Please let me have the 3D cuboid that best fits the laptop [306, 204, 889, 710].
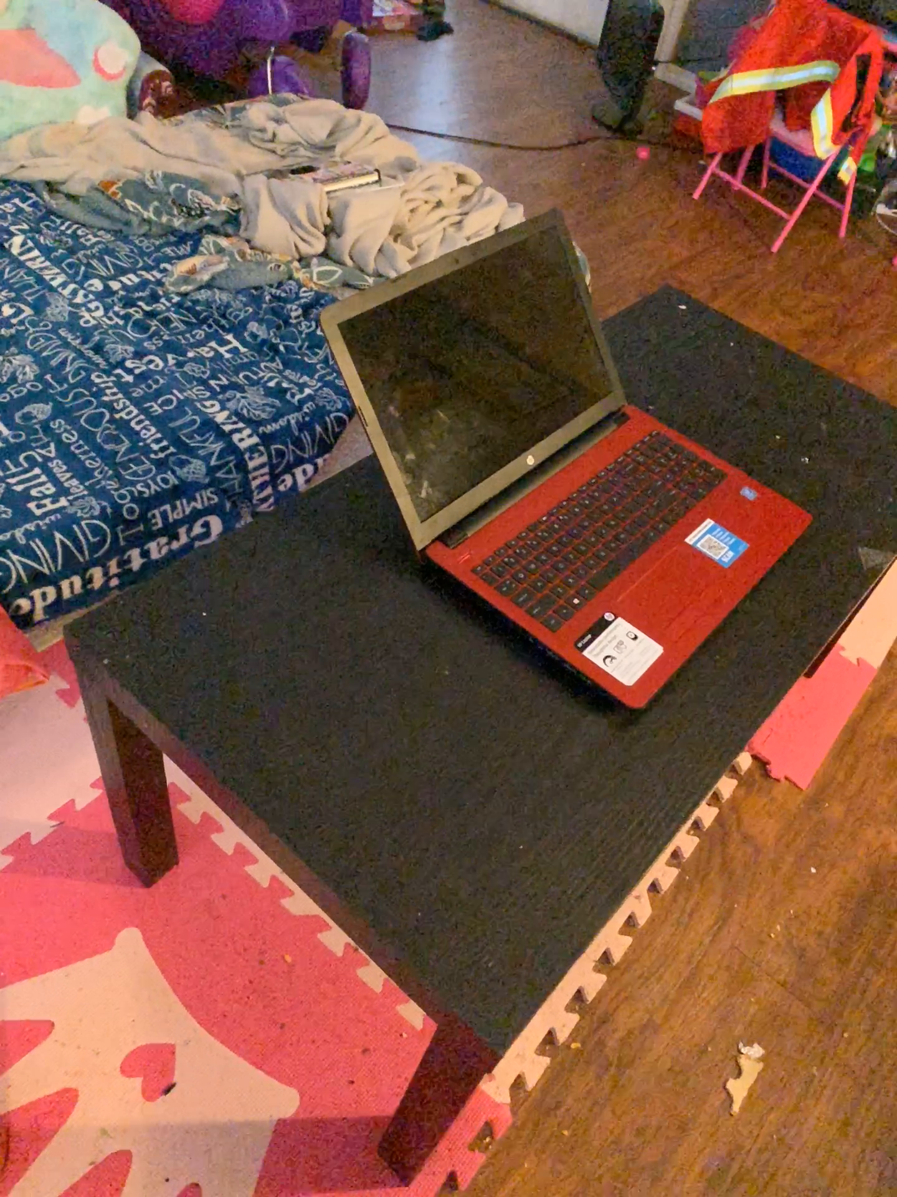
[{"bbox_3d":[0.142,-0.172,0.906,0.410,0.169,0.377,37,51,19],"label":"laptop"}]
